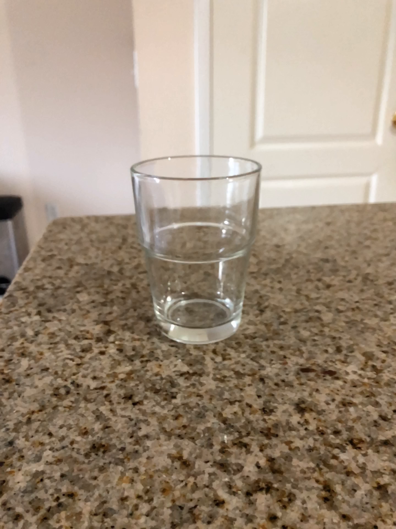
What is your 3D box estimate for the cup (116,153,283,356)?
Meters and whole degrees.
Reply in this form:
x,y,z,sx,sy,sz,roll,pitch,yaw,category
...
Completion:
x,y,z,sx,sy,sz,roll,pitch,yaw,category
0.003,-0.013,0.280,0.070,0.100,0.070,-1,21,0,cup
